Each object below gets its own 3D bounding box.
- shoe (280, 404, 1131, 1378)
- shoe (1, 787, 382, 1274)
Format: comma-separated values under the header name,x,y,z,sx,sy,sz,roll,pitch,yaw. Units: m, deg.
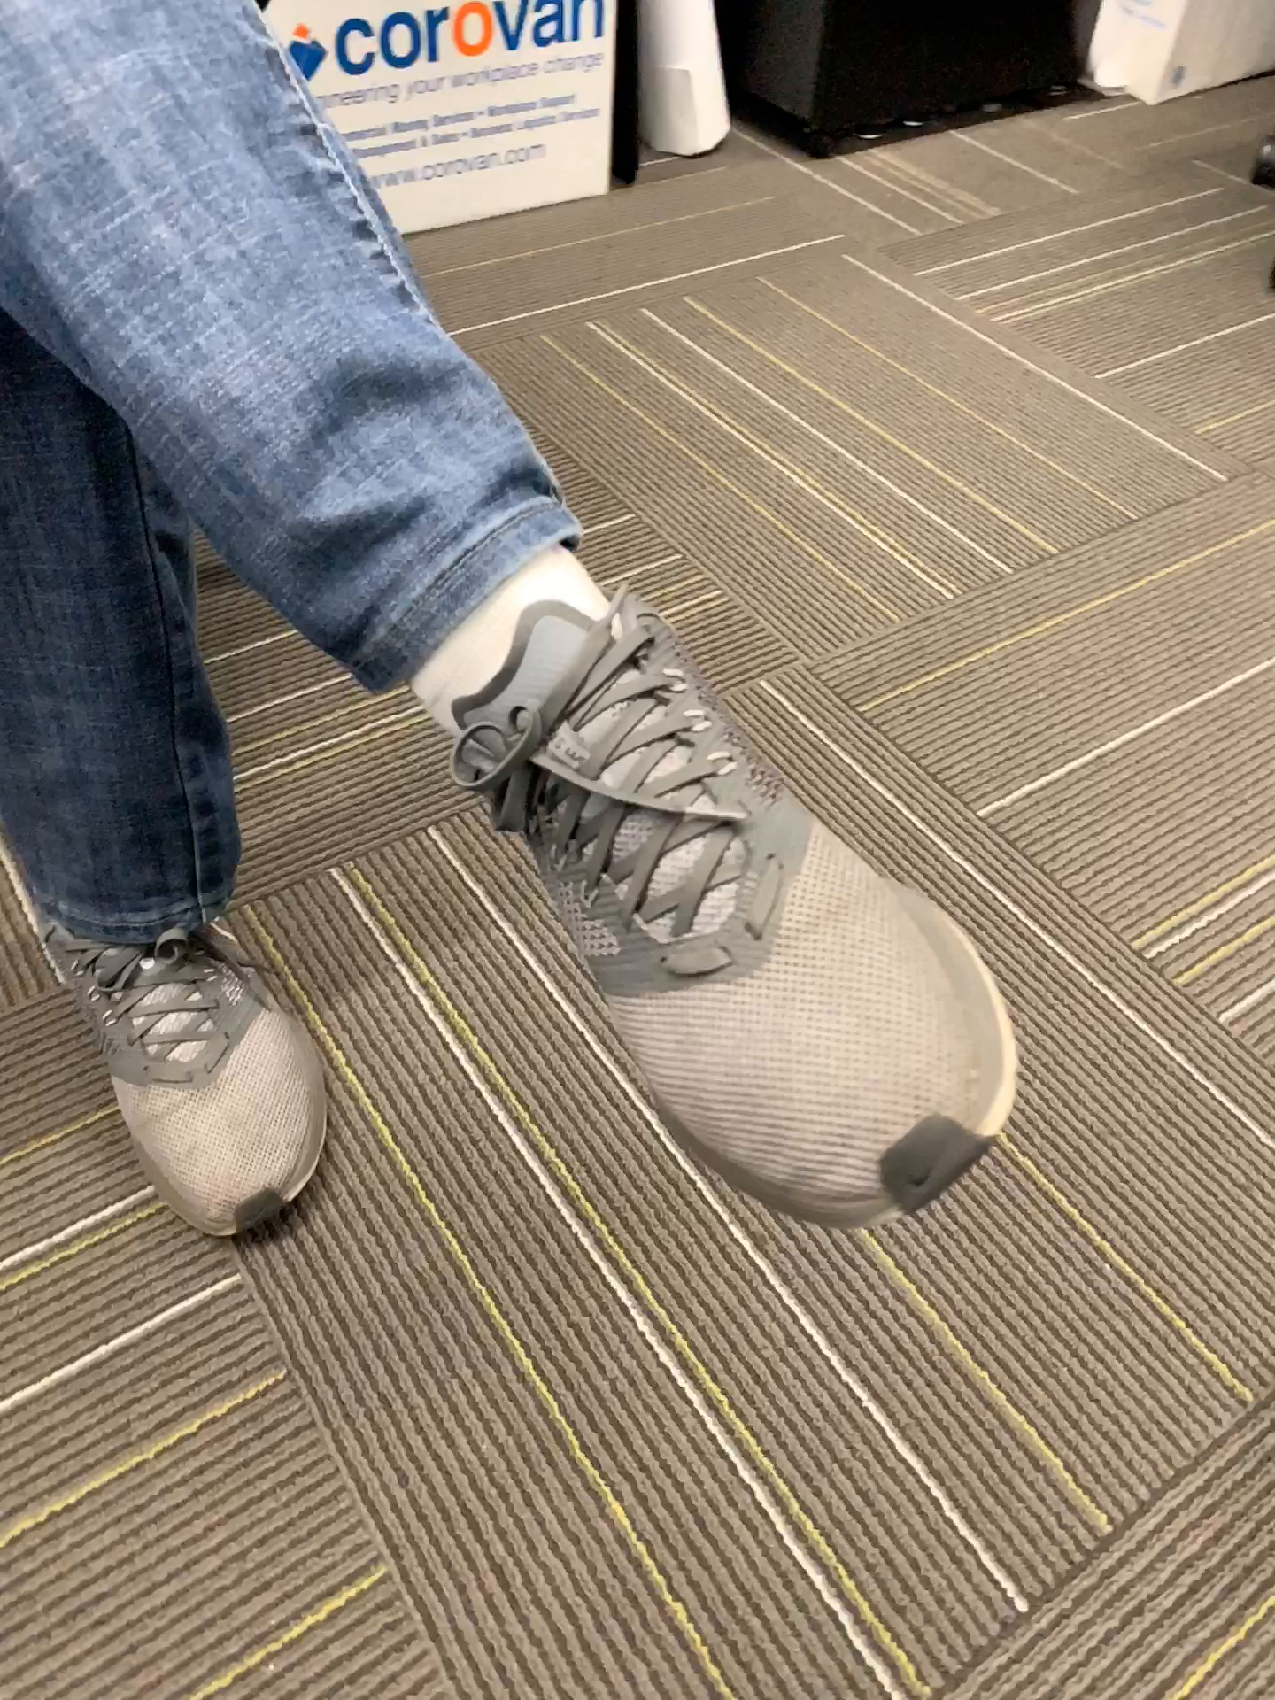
name,x,y,z,sx,sy,sz,roll,pitch,yaw
shoe,-0.002,-0.004,0.434,0.122,0.142,0.296,-43,42,13
shoe,-0.270,0.095,0.779,0.120,0.085,0.270,-24,53,-24
